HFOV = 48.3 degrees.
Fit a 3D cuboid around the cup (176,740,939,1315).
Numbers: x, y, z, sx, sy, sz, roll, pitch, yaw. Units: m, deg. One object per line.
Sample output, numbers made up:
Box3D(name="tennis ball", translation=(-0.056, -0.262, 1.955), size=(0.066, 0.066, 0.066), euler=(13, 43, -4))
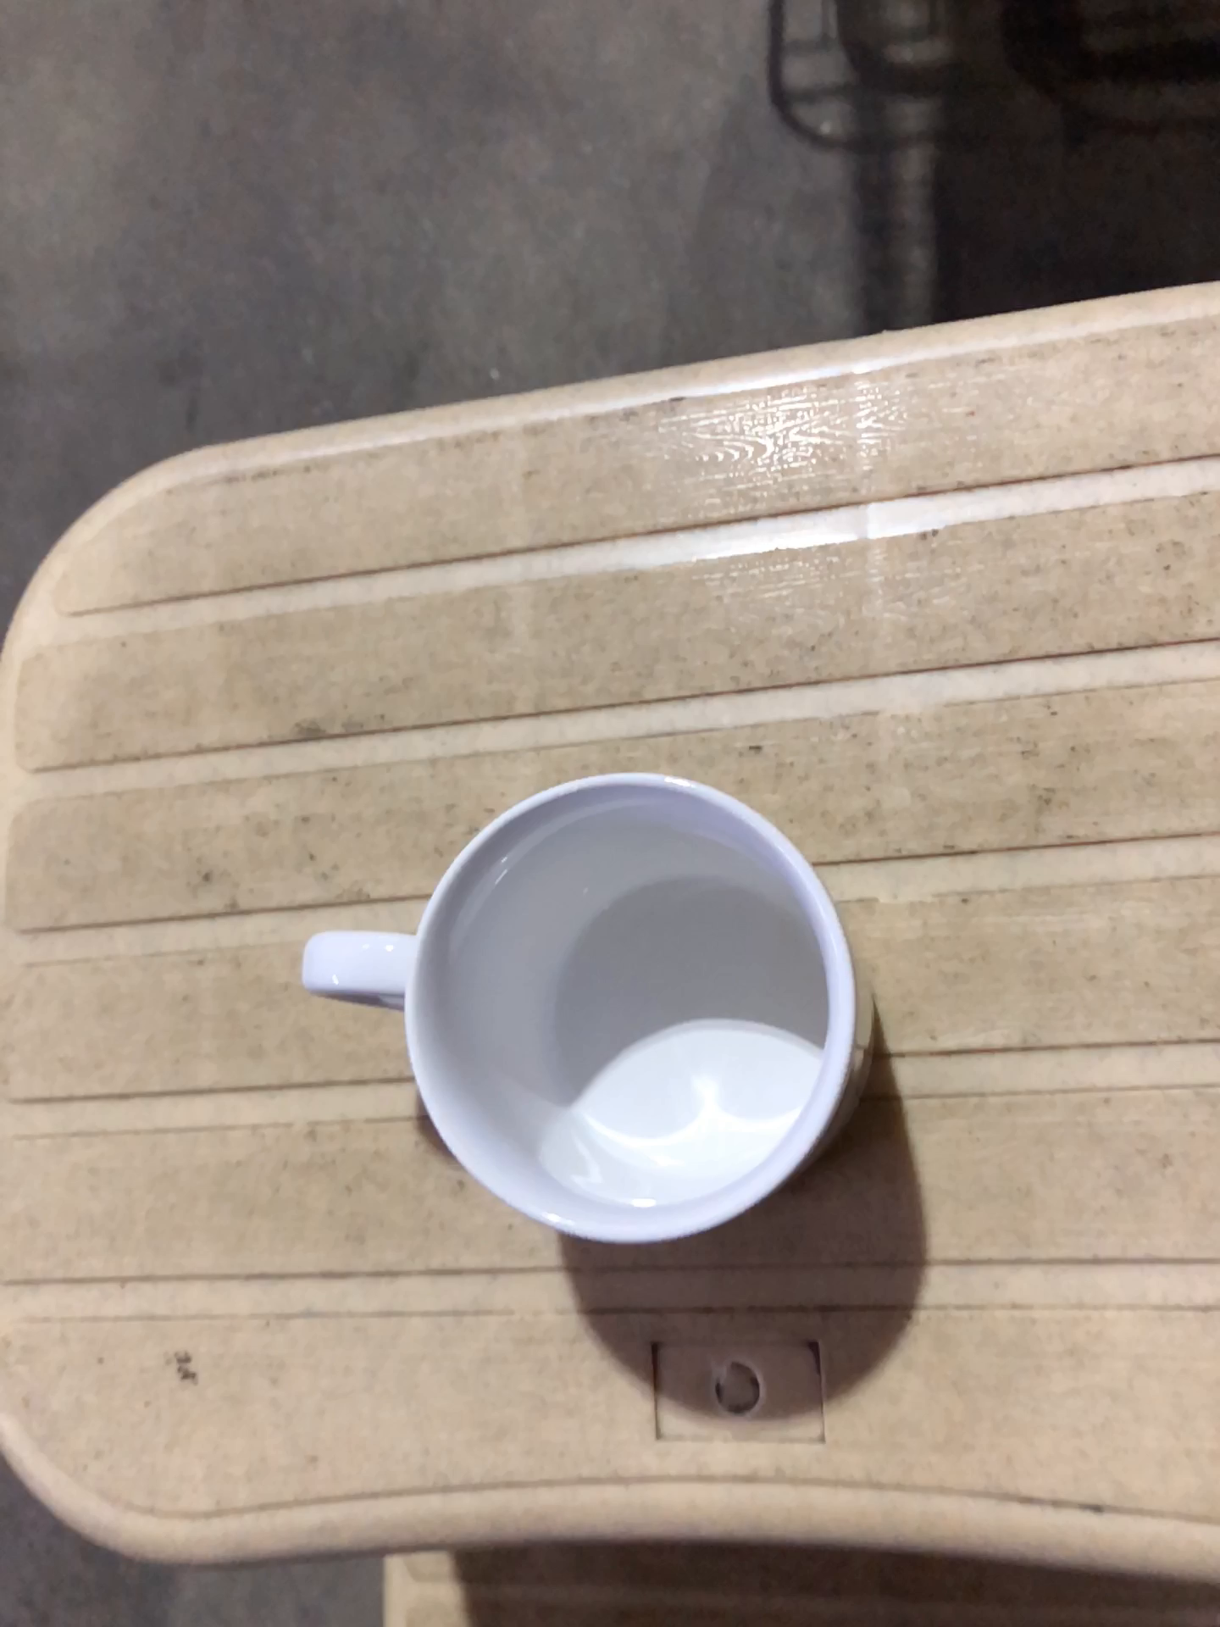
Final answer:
Box3D(name="cup", translation=(-0.002, 0.031, 0.210), size=(0.100, 0.060, 0.070), euler=(1, 78, 14))
